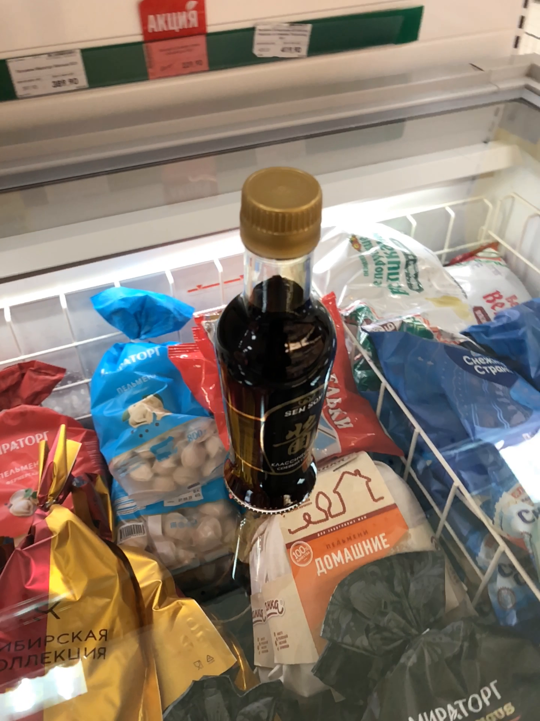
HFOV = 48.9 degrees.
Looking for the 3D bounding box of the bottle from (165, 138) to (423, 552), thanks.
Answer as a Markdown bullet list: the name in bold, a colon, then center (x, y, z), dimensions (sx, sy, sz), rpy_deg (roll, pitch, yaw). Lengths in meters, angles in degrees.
- **bottle**: center (0.007, 0.002, 0.285), dimensions (0.070, 0.179, 0.070), rpy_deg (0, 43, 0)
